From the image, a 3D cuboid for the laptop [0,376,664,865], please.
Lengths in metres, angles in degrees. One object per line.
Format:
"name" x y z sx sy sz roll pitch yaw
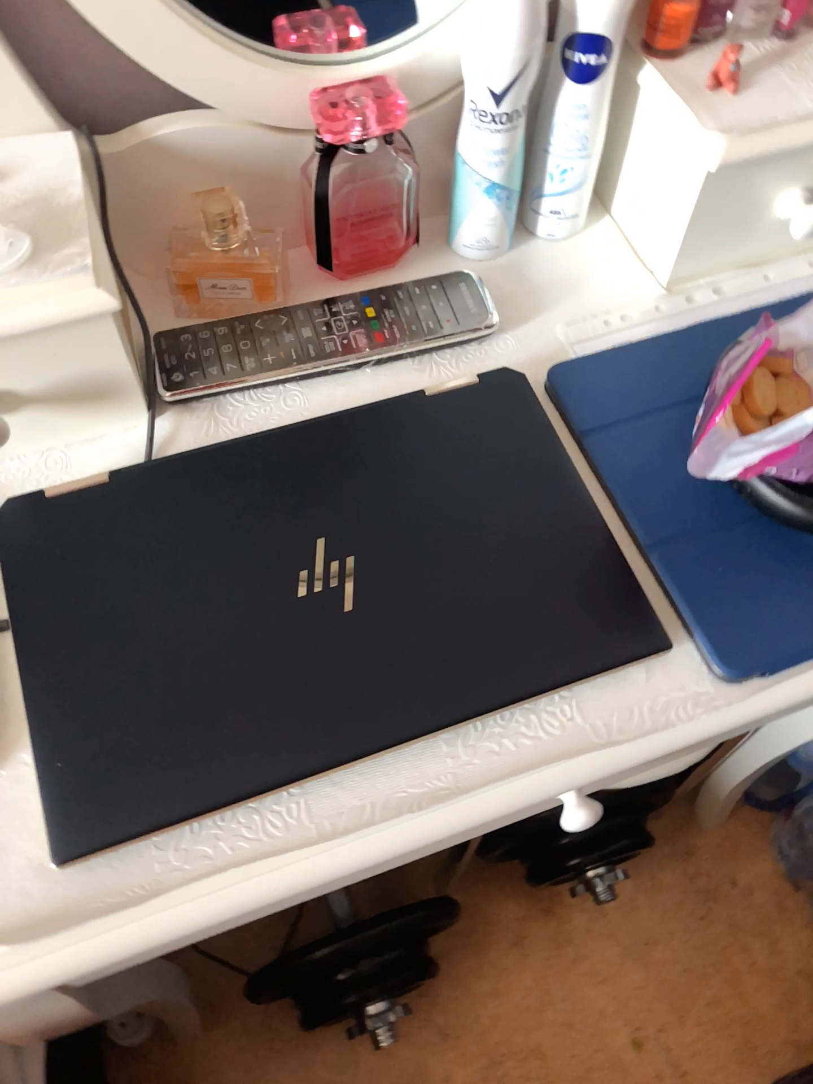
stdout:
"laptop" -0.032 0.017 0.407 0.267 0.007 0.161 -16 66 -18
